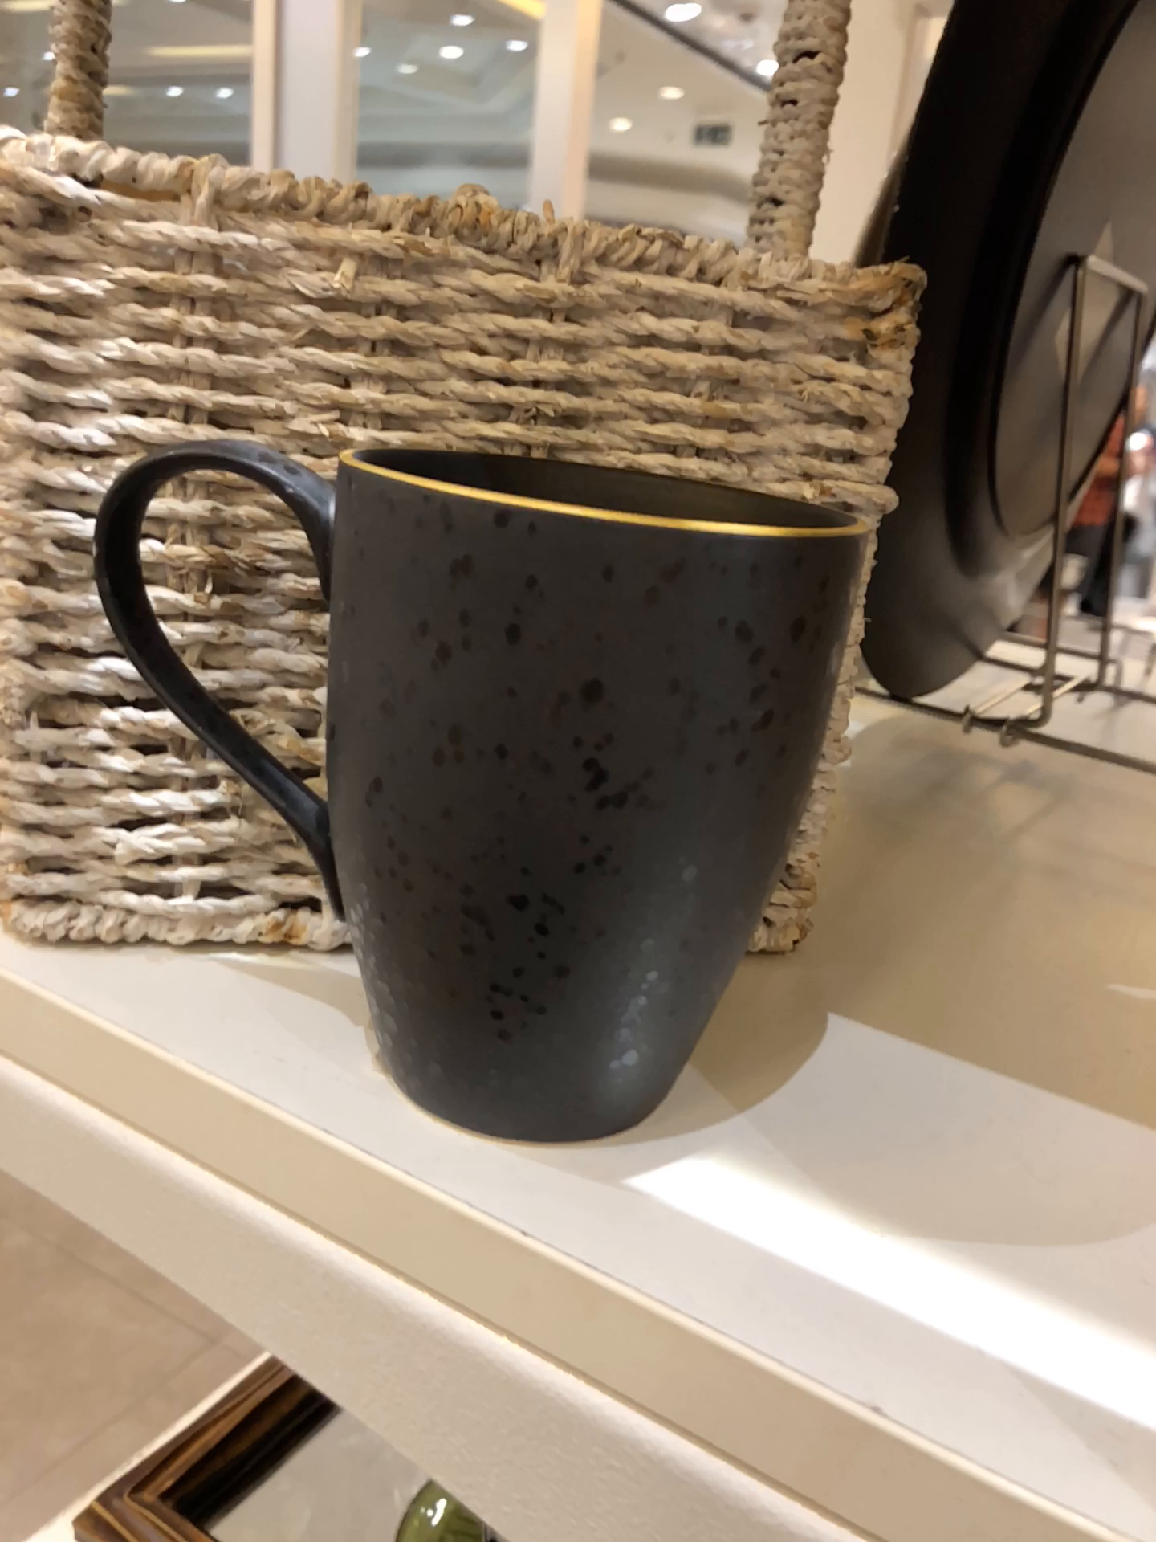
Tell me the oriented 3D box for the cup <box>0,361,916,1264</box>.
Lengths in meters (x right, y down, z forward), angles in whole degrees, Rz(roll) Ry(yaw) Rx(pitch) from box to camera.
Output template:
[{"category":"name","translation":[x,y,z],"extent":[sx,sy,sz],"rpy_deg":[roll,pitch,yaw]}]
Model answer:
[{"category":"cup","translation":[-0.021,-0.007,0.206],"extent":[0.120,0.099,0.080],"rpy_deg":[12,18,21]}]
